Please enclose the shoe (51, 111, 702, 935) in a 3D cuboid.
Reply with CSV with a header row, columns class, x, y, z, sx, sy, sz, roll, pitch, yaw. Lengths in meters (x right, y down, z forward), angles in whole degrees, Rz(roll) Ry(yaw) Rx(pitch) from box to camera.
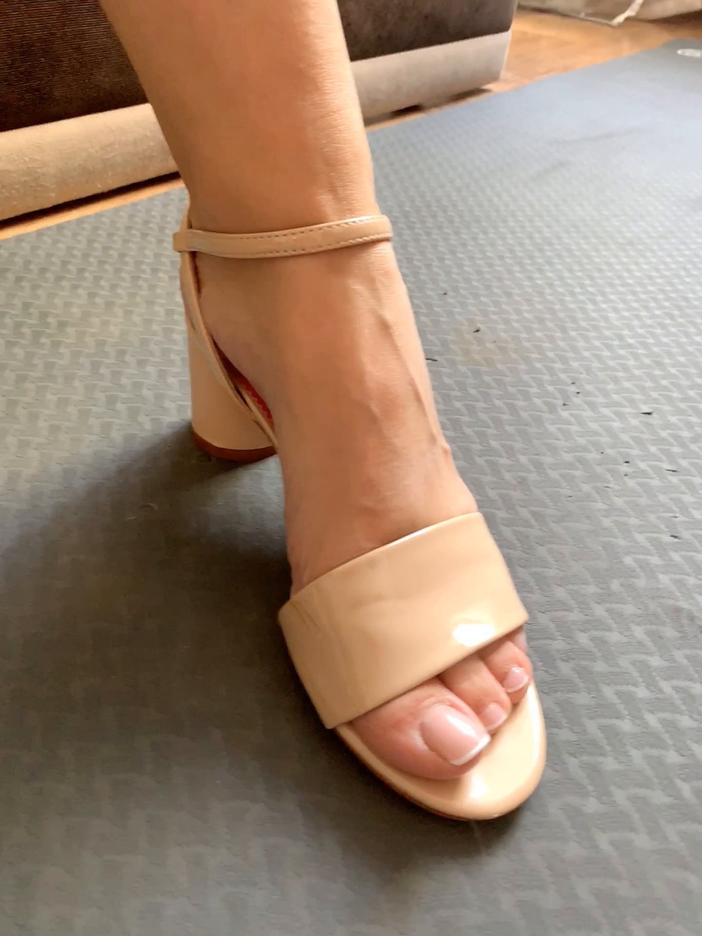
class,x,y,z,sx,sy,sz,roll,pitch,yaw
shoe,-0.013,-0.017,0.239,0.090,0.119,0.251,-17,44,-25
